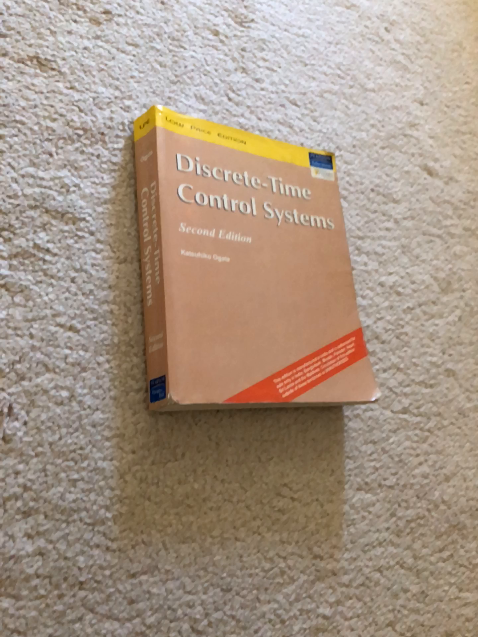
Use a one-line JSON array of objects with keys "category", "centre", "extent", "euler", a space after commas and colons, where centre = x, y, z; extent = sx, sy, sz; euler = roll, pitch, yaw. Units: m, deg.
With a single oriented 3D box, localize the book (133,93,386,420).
[{"category": "book", "centre": [0.016, -0.045, 0.424], "extent": [0.186, 0.035, 0.238], "euler": [4, 70, -31]}]
